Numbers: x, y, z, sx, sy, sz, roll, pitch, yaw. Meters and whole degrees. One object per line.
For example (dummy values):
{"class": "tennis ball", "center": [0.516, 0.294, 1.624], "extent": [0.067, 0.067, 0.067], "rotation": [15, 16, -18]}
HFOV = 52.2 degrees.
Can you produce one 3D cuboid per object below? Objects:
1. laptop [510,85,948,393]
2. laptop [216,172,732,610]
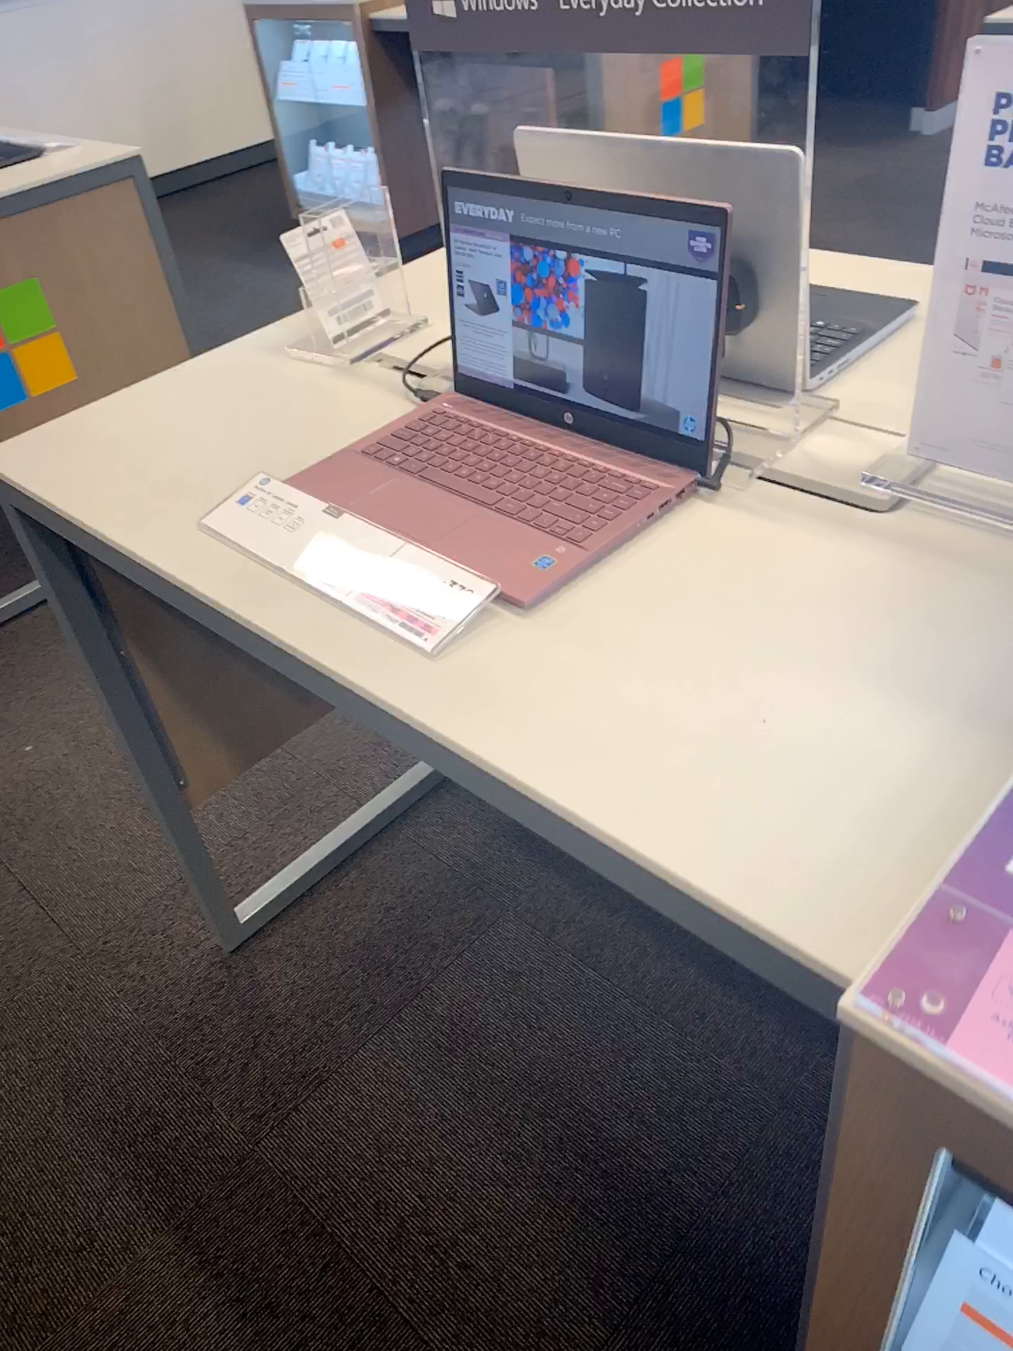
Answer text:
{"class": "laptop", "center": [0.212, -0.449, 1.024], "extent": [0.325, 0.186, 0.244], "rotation": [27, 50, 36]}
{"class": "laptop", "center": [-0.022, -0.252, 0.843], "extent": [0.250, 0.200, 0.313], "rotation": [-36, 46, -29]}
